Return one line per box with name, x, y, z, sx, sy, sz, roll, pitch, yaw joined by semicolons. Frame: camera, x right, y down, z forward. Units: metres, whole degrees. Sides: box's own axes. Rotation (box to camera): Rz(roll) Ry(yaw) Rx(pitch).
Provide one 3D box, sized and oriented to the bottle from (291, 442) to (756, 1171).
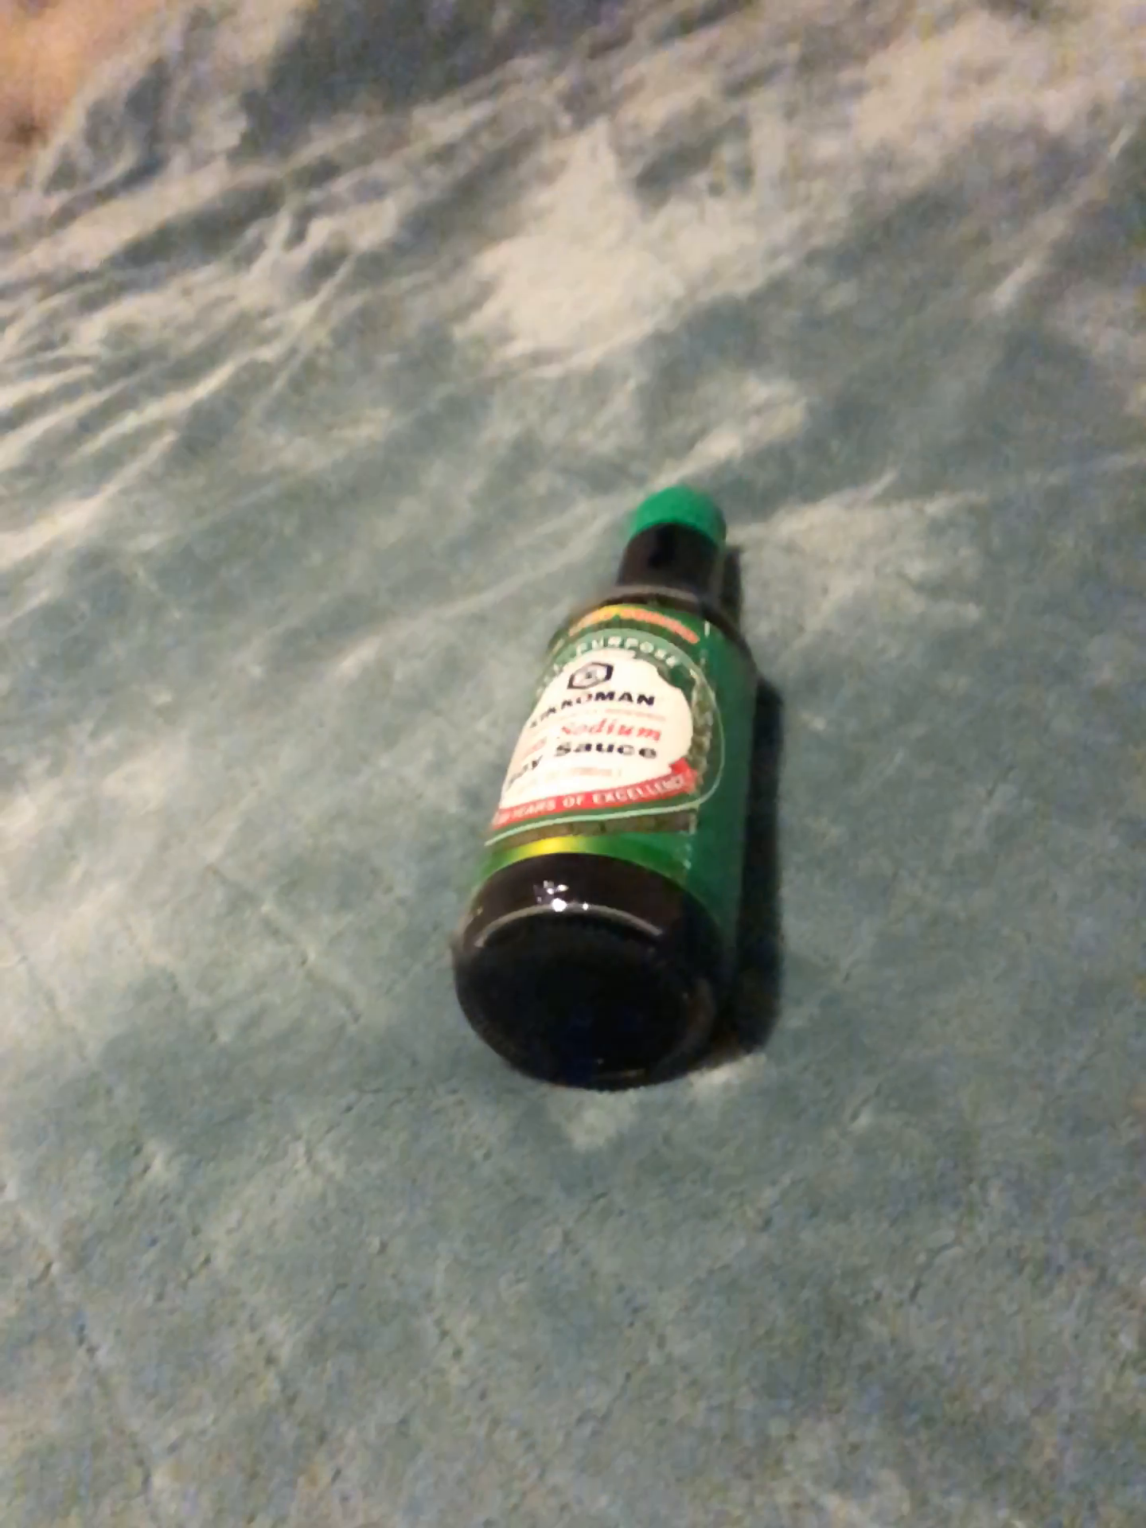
bottle;0.003;-0.005;0.330;0.070;0.060;0.211;-10;35;17
